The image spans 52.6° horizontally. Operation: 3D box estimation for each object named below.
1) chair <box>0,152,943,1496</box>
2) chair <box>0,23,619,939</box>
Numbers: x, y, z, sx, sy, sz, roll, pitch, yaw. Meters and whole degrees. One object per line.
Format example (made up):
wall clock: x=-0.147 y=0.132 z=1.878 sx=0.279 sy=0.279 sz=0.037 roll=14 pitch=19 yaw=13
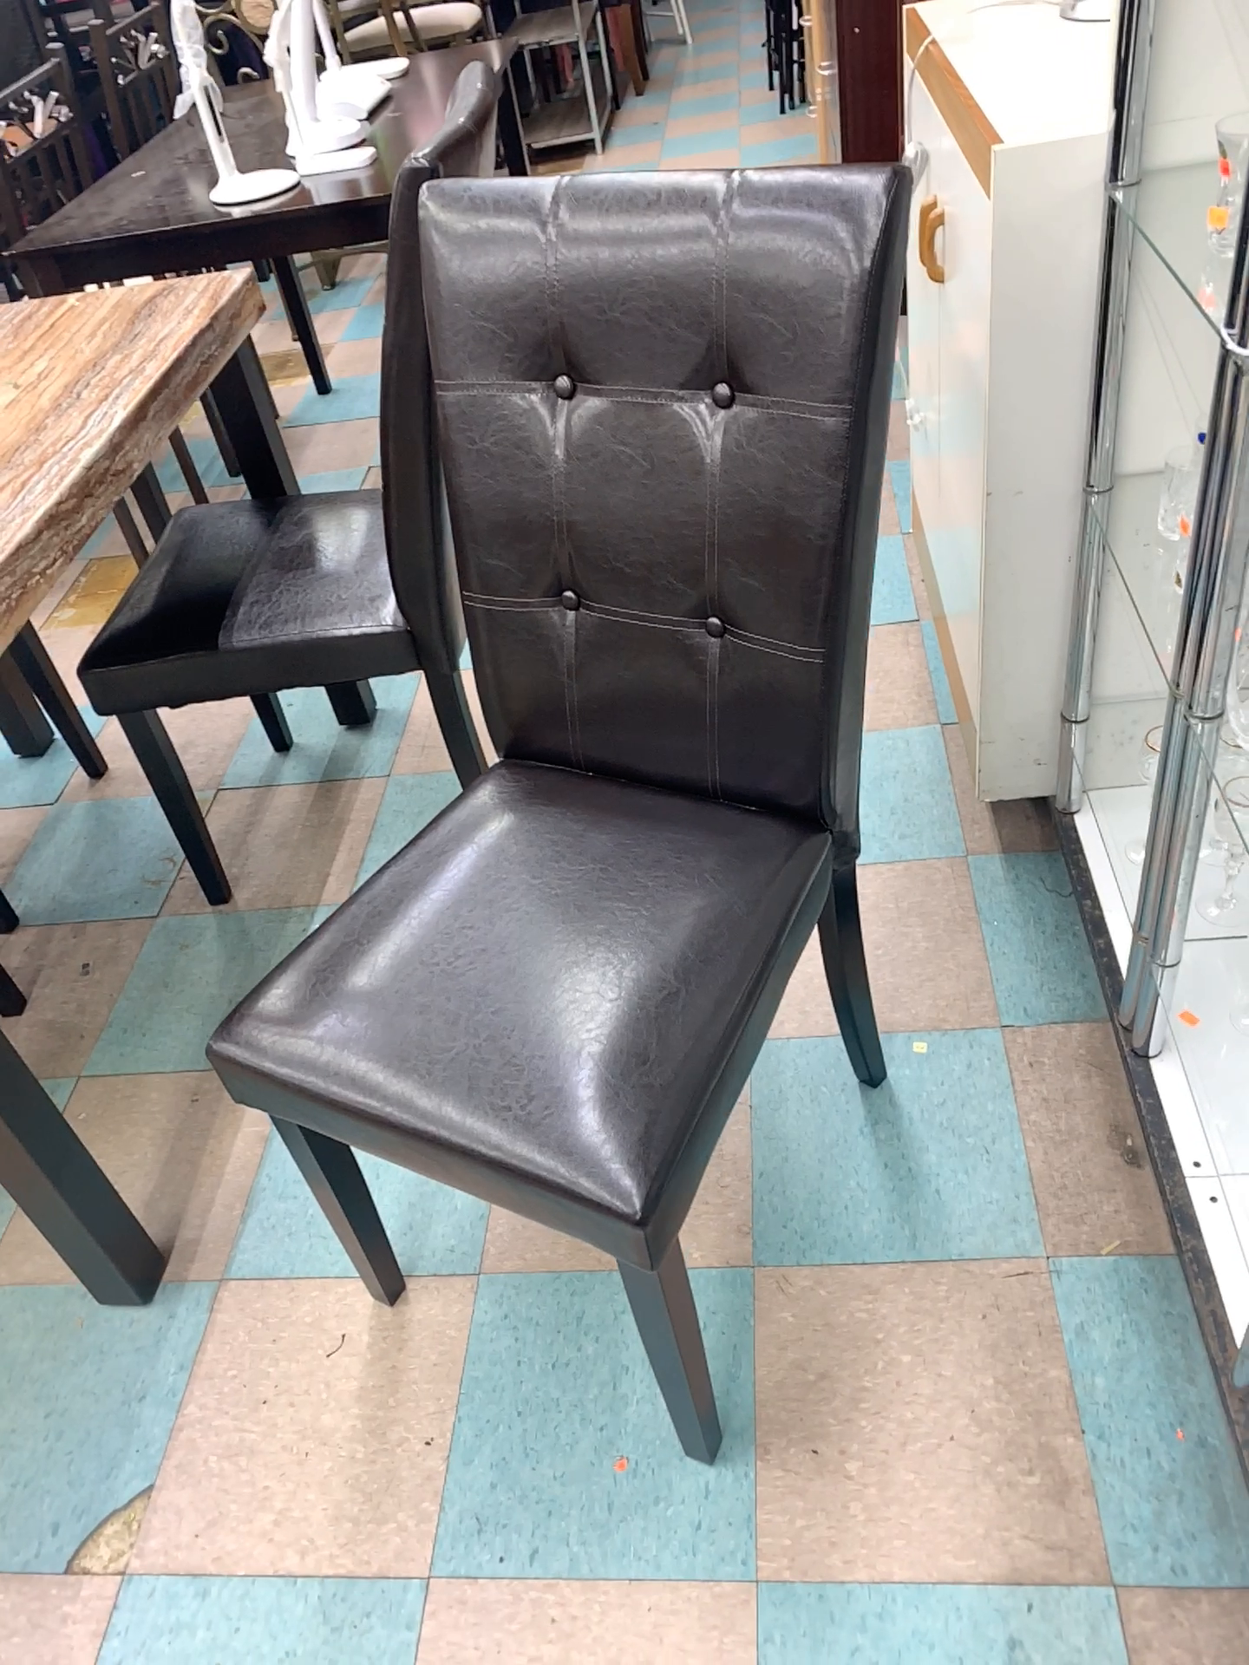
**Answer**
chair: x=-0.043 y=0.015 z=1.121 sx=0.471 sy=0.955 sz=0.572 roll=14 pitch=47 yaw=28
chair: x=-0.413 y=-0.458 z=1.768 sx=0.650 sy=0.955 sz=0.674 roll=-7 pitch=41 yaw=7
